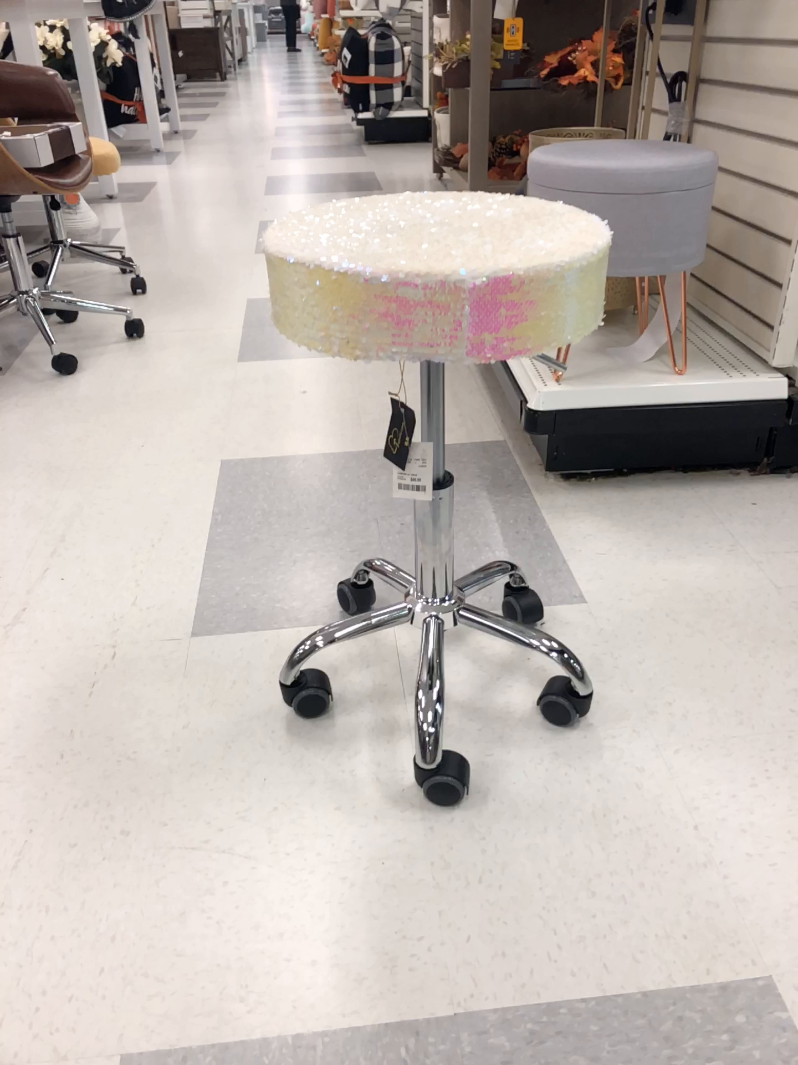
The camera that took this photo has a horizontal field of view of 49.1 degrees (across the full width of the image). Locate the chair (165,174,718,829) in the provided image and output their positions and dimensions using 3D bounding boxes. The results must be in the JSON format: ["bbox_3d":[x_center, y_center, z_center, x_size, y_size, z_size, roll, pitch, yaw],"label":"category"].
[{"bbox_3d":[0.026,-0.062,1.032,0.436,0.591,0.468,-4,30,-4],"label":"chair"}]

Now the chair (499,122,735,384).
[{"bbox_3d":[0.367,-0.515,1.588,0.306,0.382,0.307,-4,30,-4],"label":"chair"}]
